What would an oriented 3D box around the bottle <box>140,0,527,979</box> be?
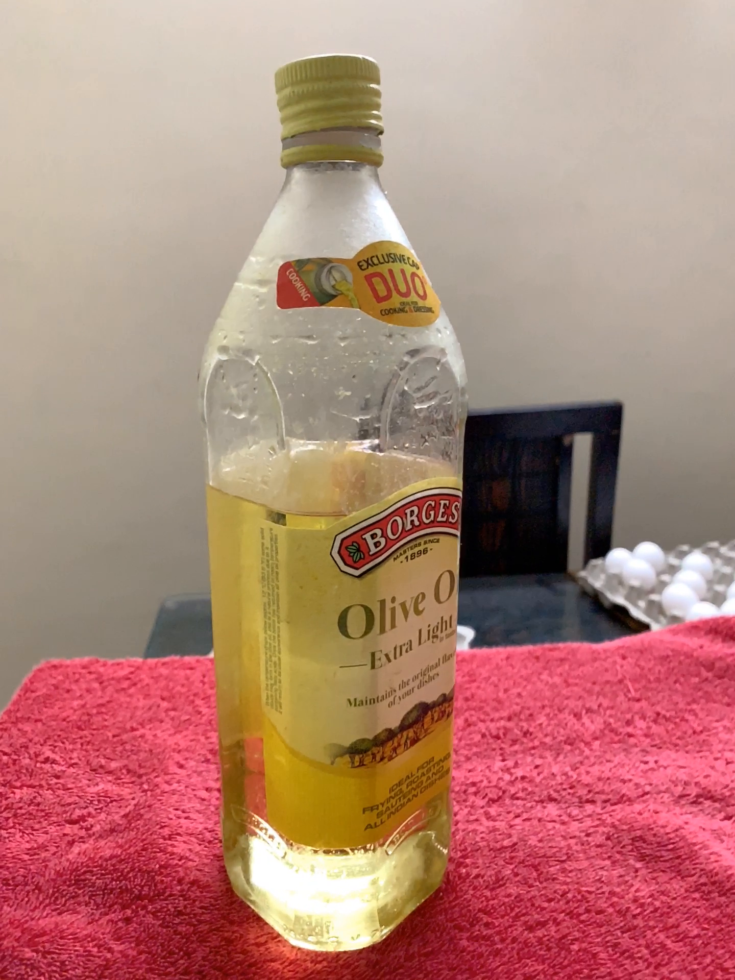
[{"bbox_3d":[-0.007,0.007,0.248,0.080,0.269,0.070,-16,22,-42],"label":"bottle"}]
